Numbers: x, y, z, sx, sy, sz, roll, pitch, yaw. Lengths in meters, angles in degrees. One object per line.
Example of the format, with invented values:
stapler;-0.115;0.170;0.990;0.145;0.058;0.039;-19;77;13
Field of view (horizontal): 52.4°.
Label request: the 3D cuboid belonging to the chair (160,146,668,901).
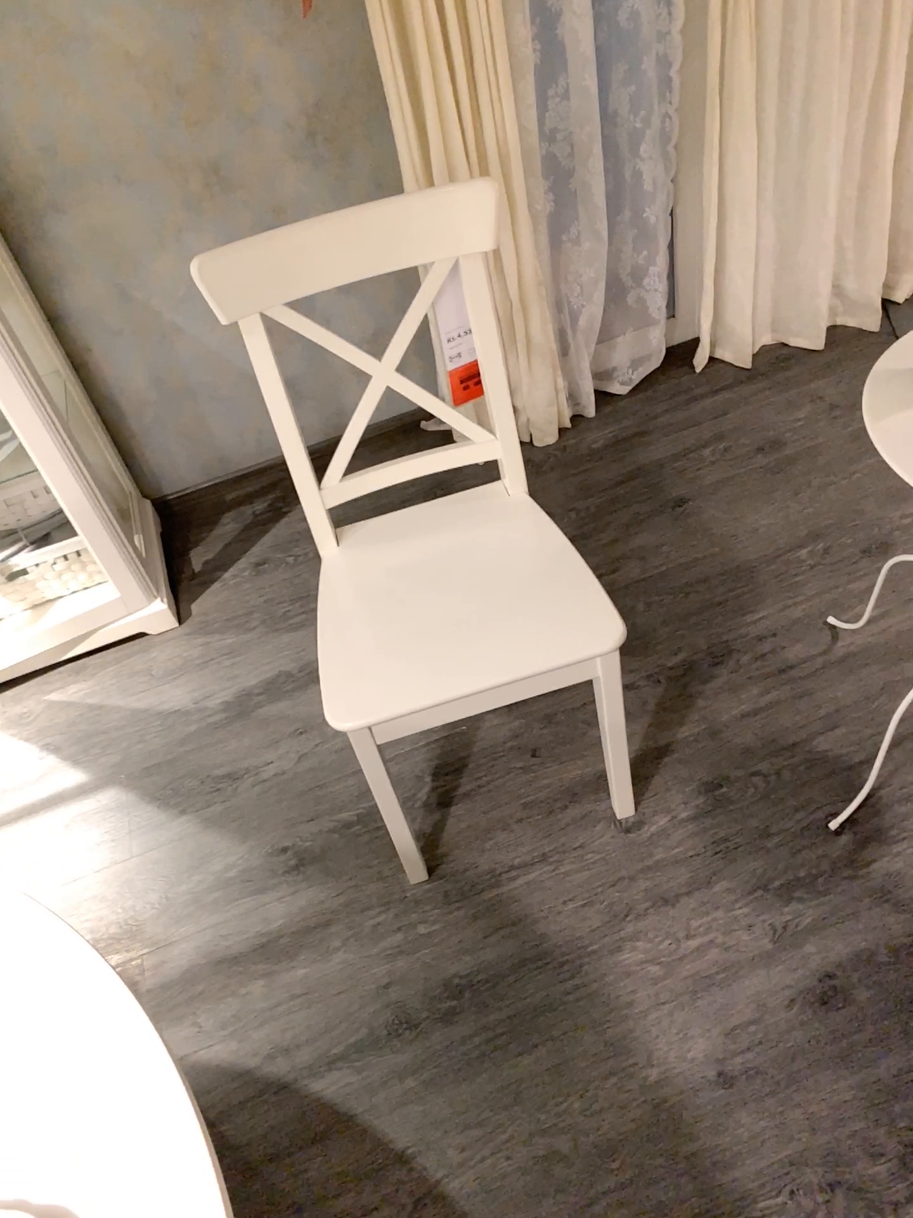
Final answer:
chair;-0.029;-0.085;1.304;0.450;0.807;0.542;-18;46;-3
